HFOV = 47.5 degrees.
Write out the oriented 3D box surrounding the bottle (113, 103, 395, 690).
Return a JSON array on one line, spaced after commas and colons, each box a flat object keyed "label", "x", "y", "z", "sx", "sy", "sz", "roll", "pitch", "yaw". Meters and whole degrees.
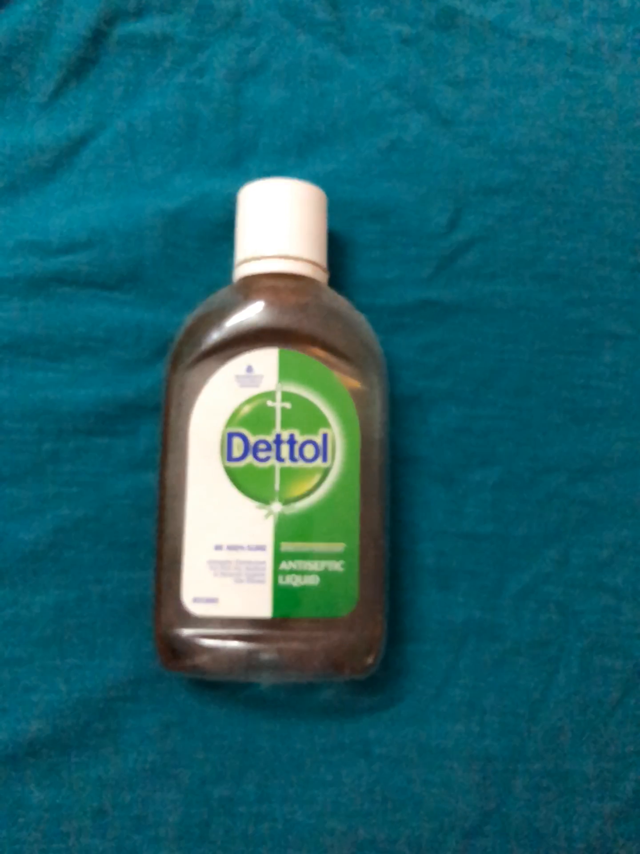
[{"label": "bottle", "x": -0.019, "y": -0.011, "z": 0.243, "sx": 0.080, "sy": 0.040, "sz": 0.180, "roll": 2, "pitch": 81, "yaw": -6}]
